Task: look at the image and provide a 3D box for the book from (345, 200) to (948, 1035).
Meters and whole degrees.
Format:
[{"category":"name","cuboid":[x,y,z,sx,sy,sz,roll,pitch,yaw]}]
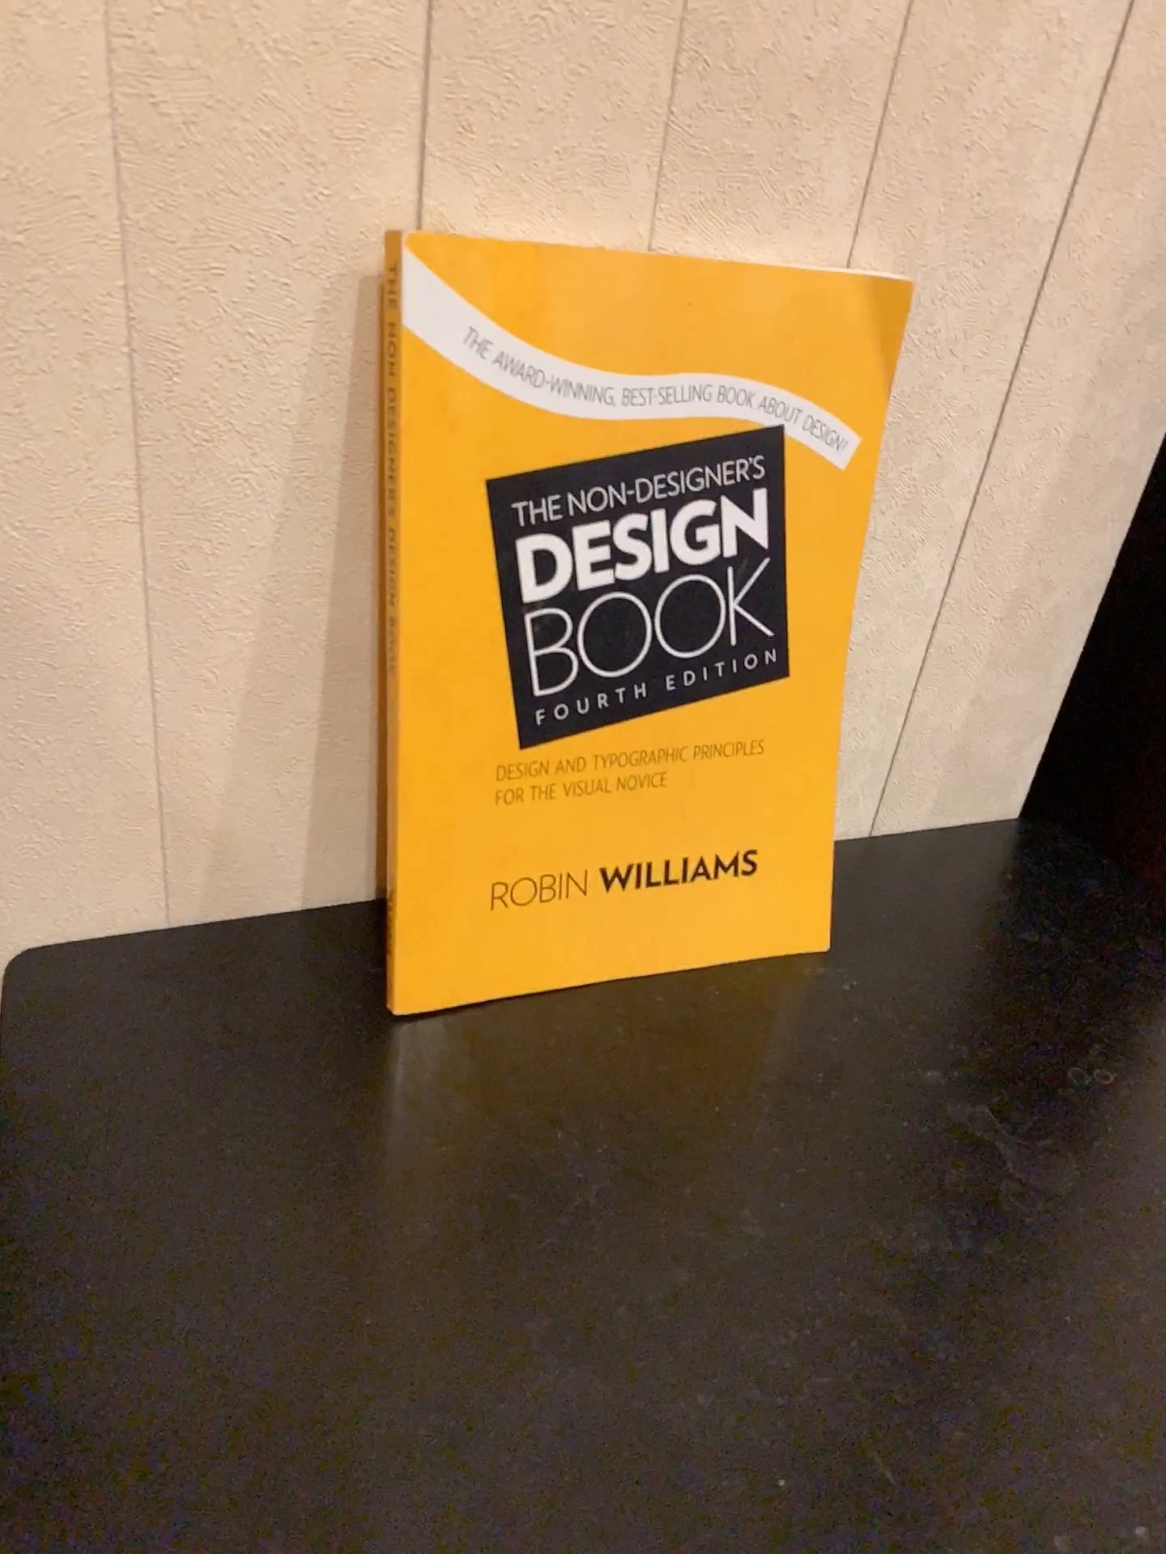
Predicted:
[{"category":"book","cuboid":[0.019,-0.047,0.411,0.190,0.259,0.030,-5,20,-20]}]
